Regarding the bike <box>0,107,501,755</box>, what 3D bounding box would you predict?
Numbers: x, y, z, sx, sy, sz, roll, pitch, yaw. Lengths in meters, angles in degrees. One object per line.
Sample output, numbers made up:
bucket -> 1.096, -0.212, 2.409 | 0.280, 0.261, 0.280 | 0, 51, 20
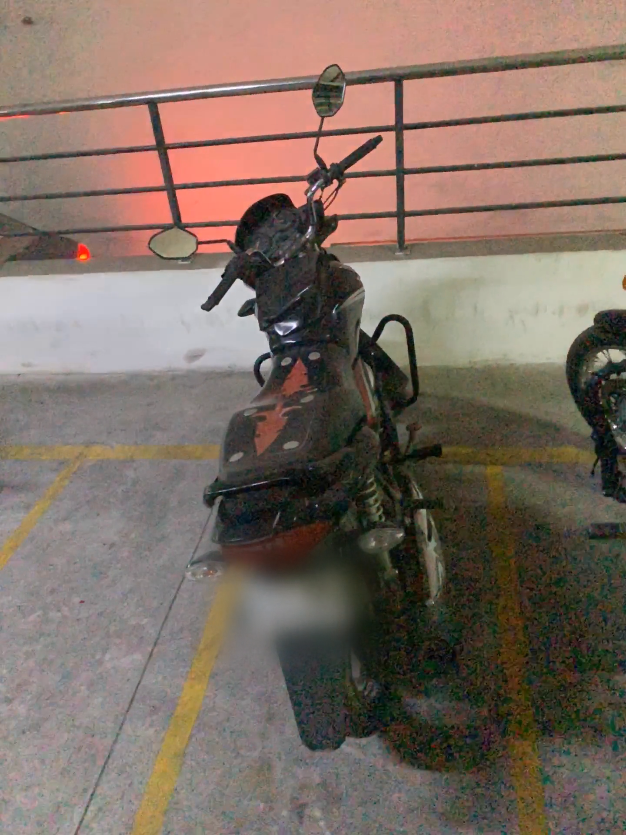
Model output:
bike -> -0.149, -0.162, 1.859 | 0.755, 1.067, 1.685 | -7, 33, 0
